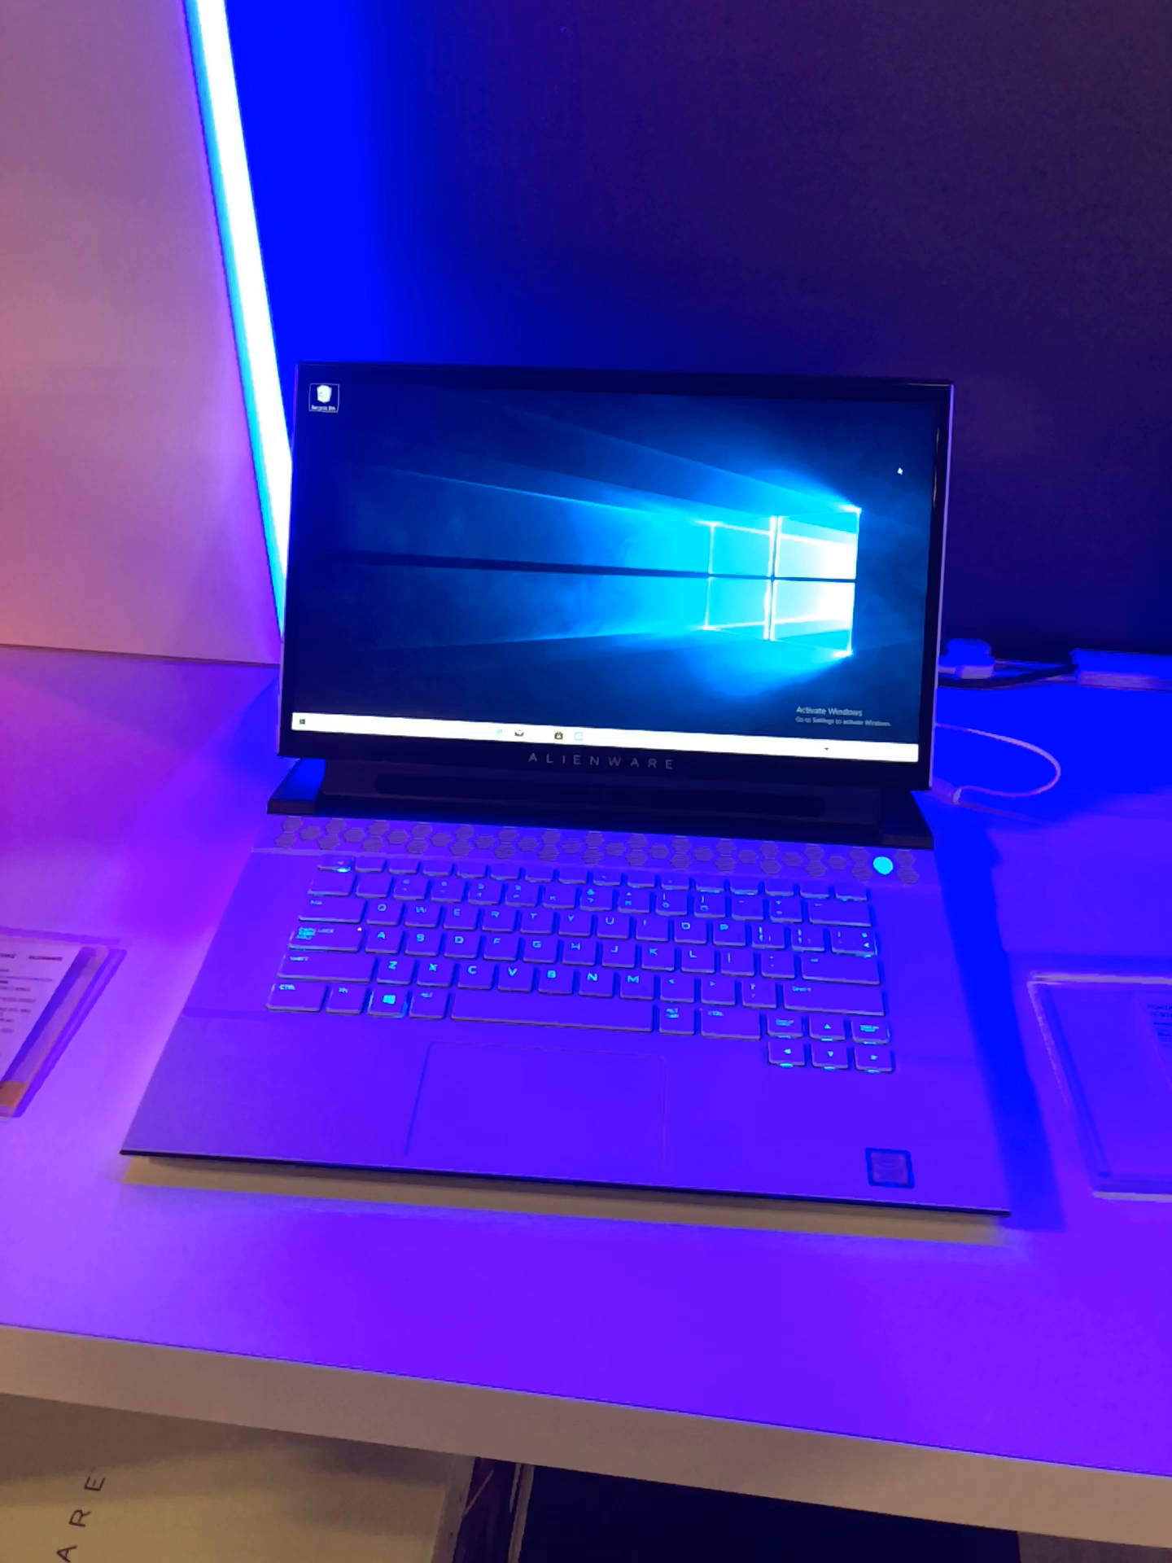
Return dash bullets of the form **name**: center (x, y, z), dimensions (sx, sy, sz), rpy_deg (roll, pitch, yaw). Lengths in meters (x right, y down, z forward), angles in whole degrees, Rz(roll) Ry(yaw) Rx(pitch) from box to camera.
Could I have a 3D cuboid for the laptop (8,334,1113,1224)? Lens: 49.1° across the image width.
- **laptop**: center (0.001, -0.038, 0.613), dimensions (0.356, 0.194, 0.381), rpy_deg (3, 39, 4)
